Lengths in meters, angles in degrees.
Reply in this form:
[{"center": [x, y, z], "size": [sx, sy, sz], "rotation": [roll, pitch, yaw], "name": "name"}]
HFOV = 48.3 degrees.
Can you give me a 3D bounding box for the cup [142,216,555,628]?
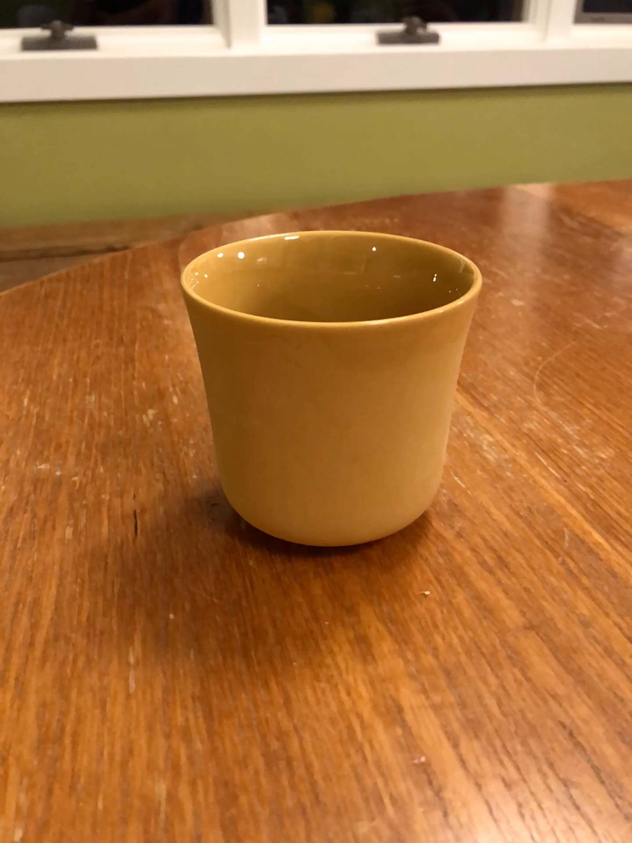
[{"center": [0.006, -0.008, 0.198], "size": [0.078, 0.073, 0.074], "rotation": [-1, 29, 0], "name": "cup"}]
